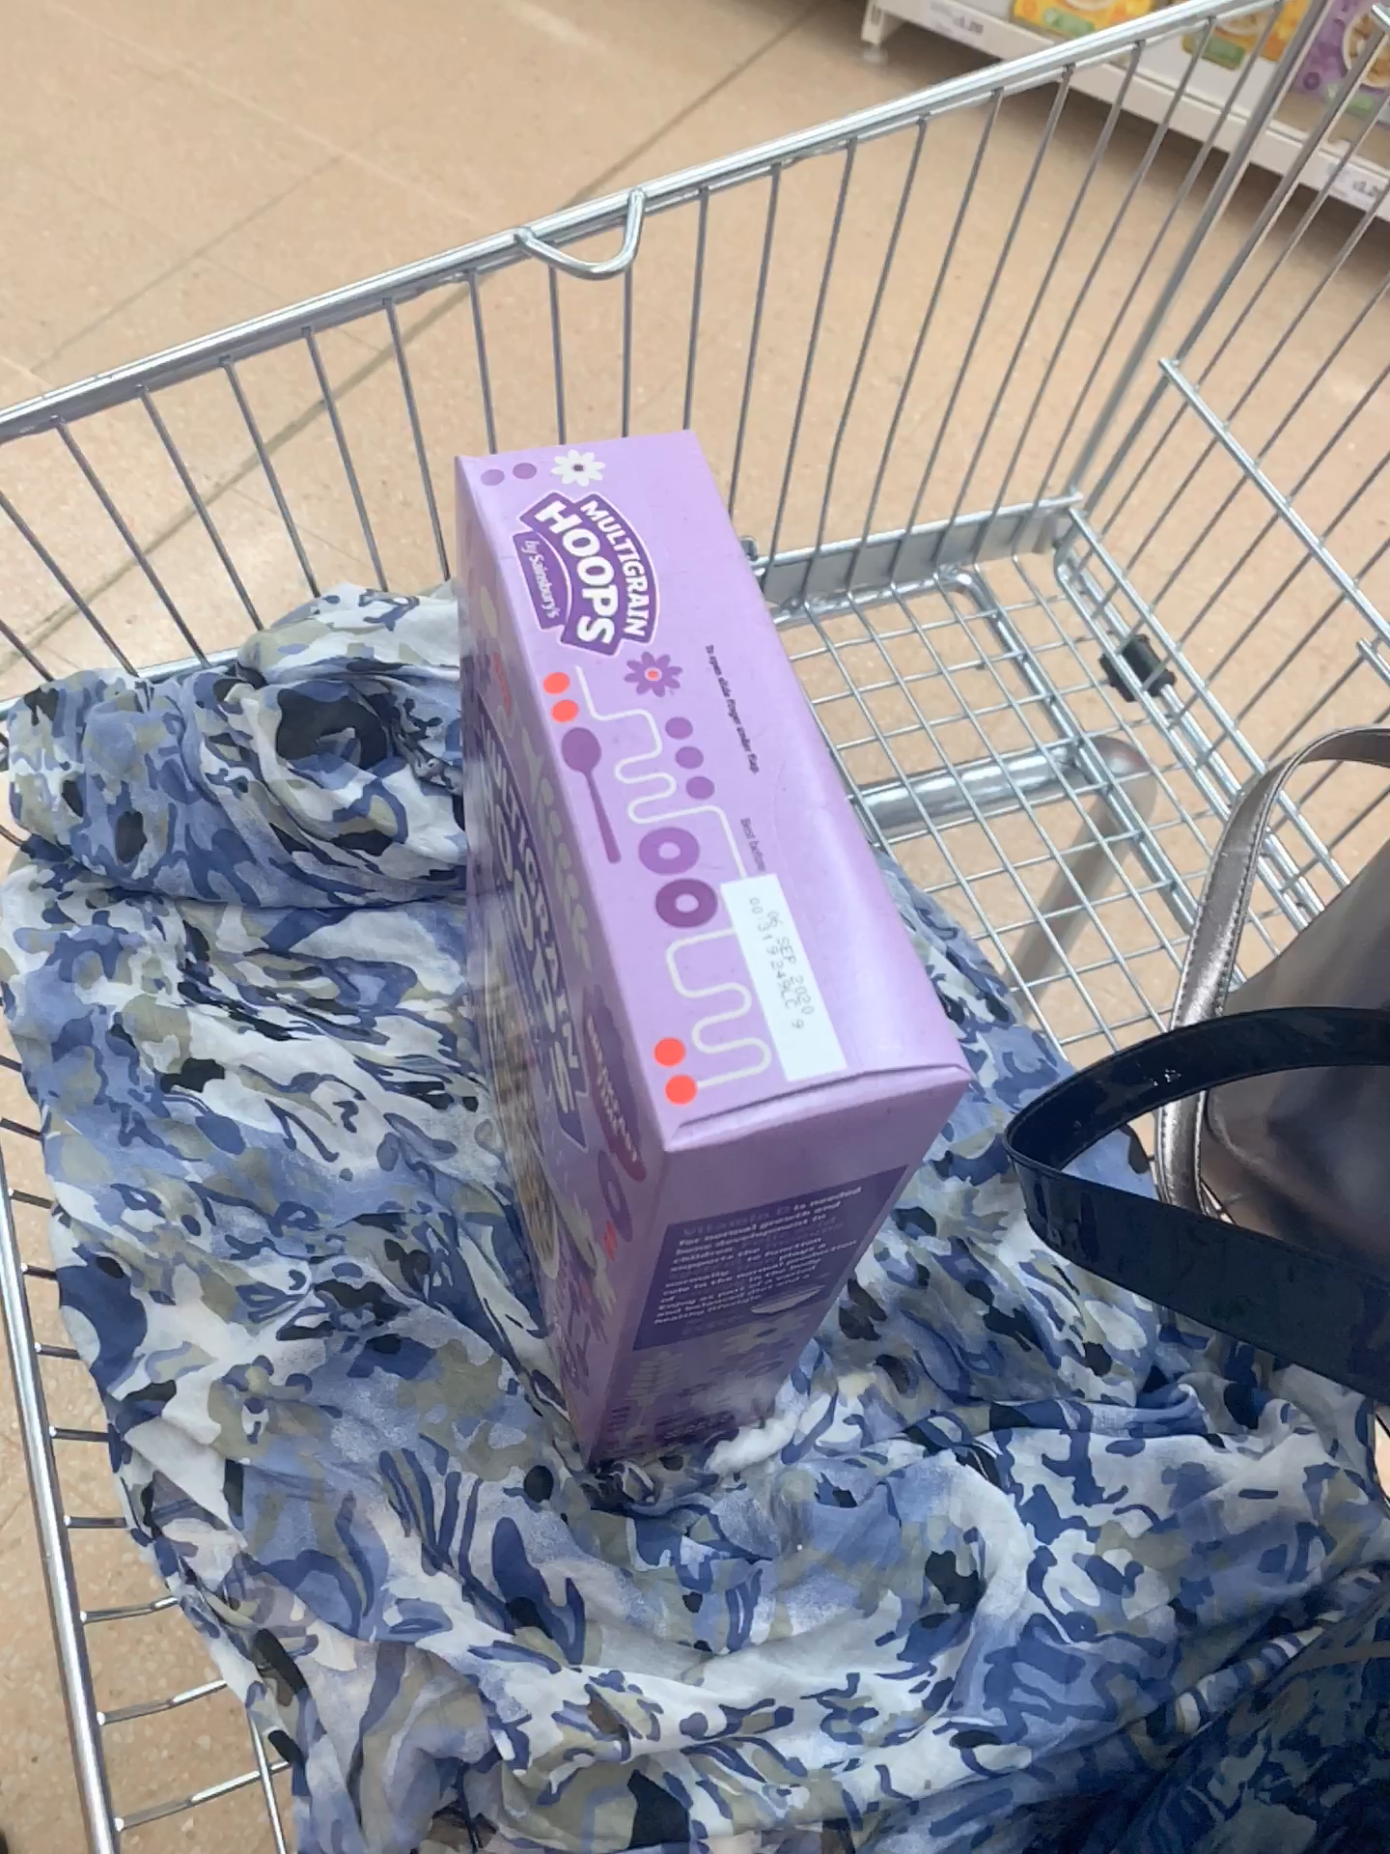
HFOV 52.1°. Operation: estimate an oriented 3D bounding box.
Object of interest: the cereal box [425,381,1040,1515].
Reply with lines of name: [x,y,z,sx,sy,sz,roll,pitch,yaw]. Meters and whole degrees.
cereal box: [-0.018,0.027,0.411,0.070,0.268,0.211,-11,60,-15]
